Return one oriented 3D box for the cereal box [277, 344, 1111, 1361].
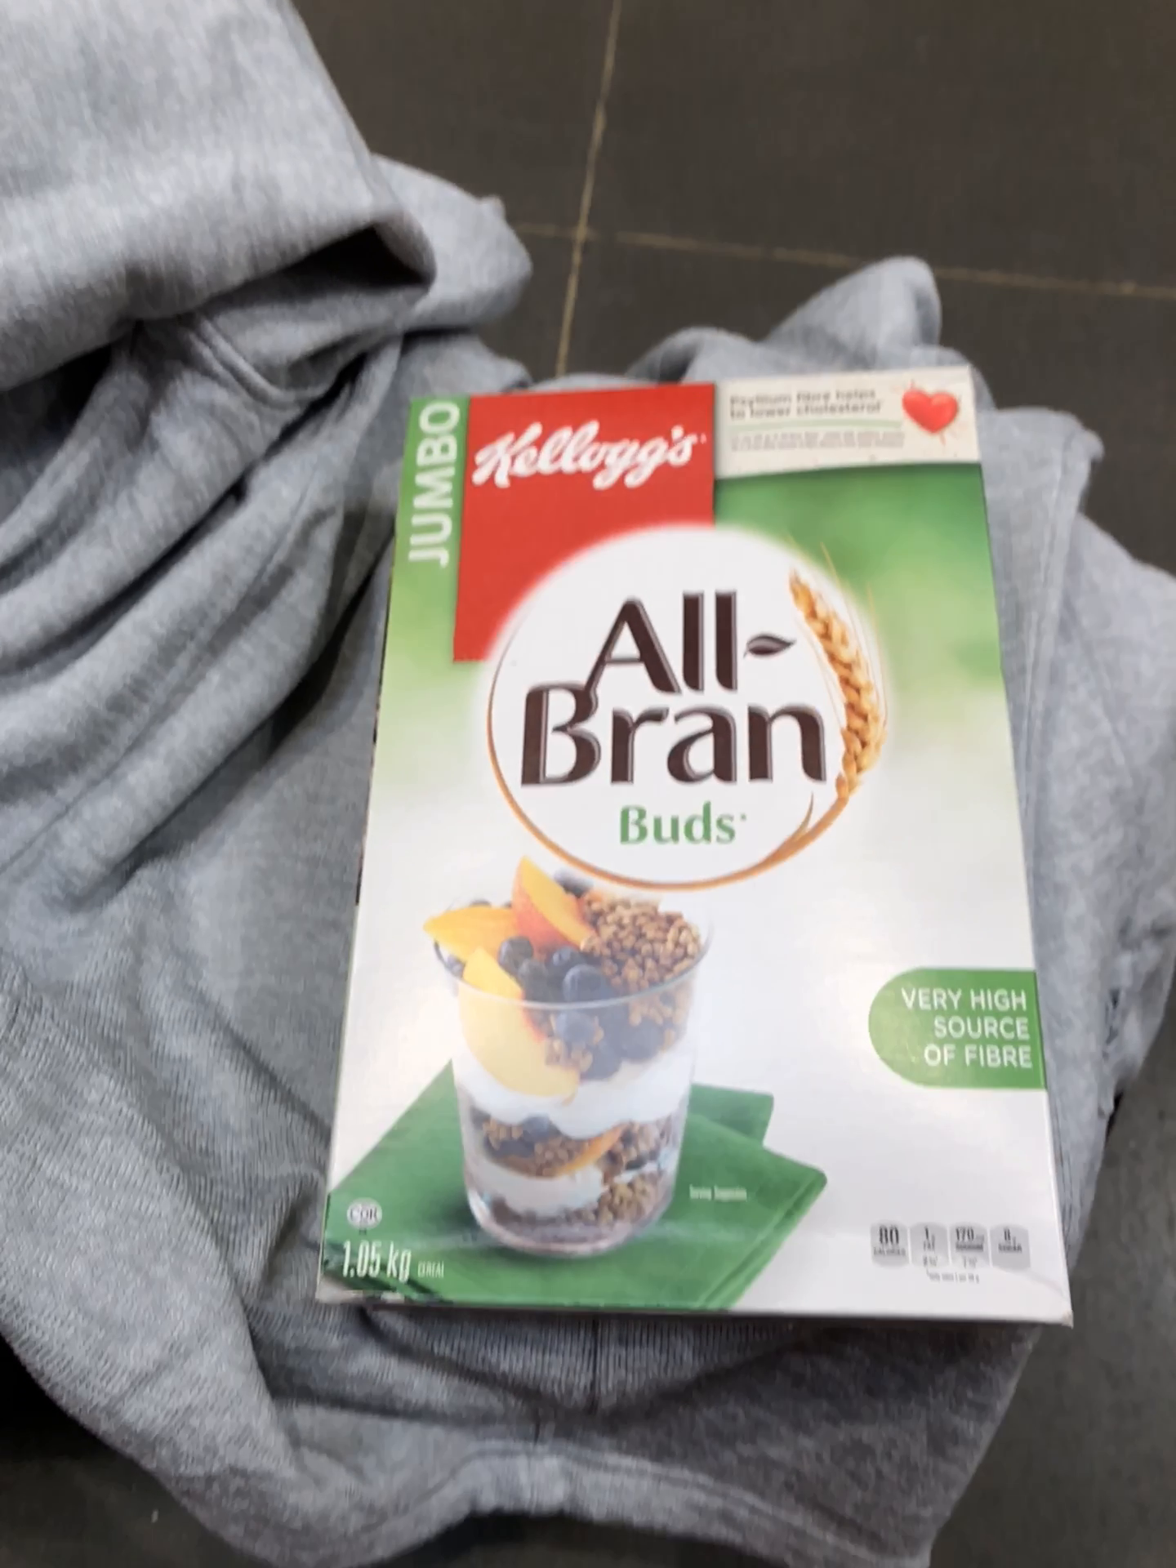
[{"bbox_3d":[0.033,0.010,0.409,0.200,0.070,0.300,-1,65,9],"label":"cereal box"}]
